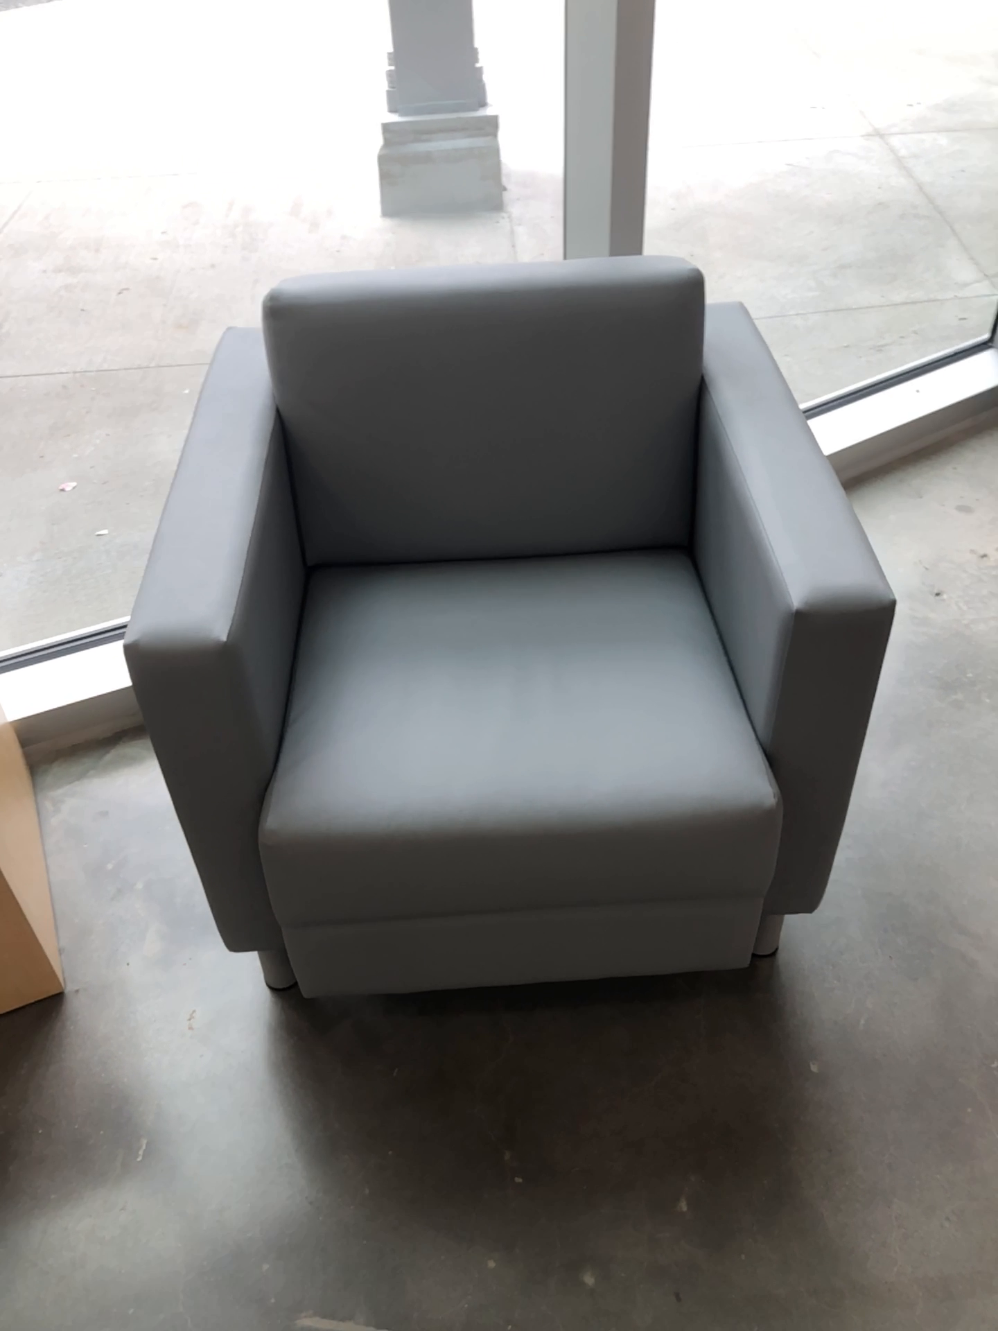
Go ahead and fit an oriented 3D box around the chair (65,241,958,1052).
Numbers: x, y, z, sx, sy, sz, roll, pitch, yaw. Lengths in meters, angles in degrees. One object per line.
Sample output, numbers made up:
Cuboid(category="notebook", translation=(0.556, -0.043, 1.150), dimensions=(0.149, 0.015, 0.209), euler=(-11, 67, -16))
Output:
Cuboid(category="chair", translation=(0.002, -0.051, 1.461), dimensions=(0.770, 0.695, 0.786), euler=(-4, 42, -1))
